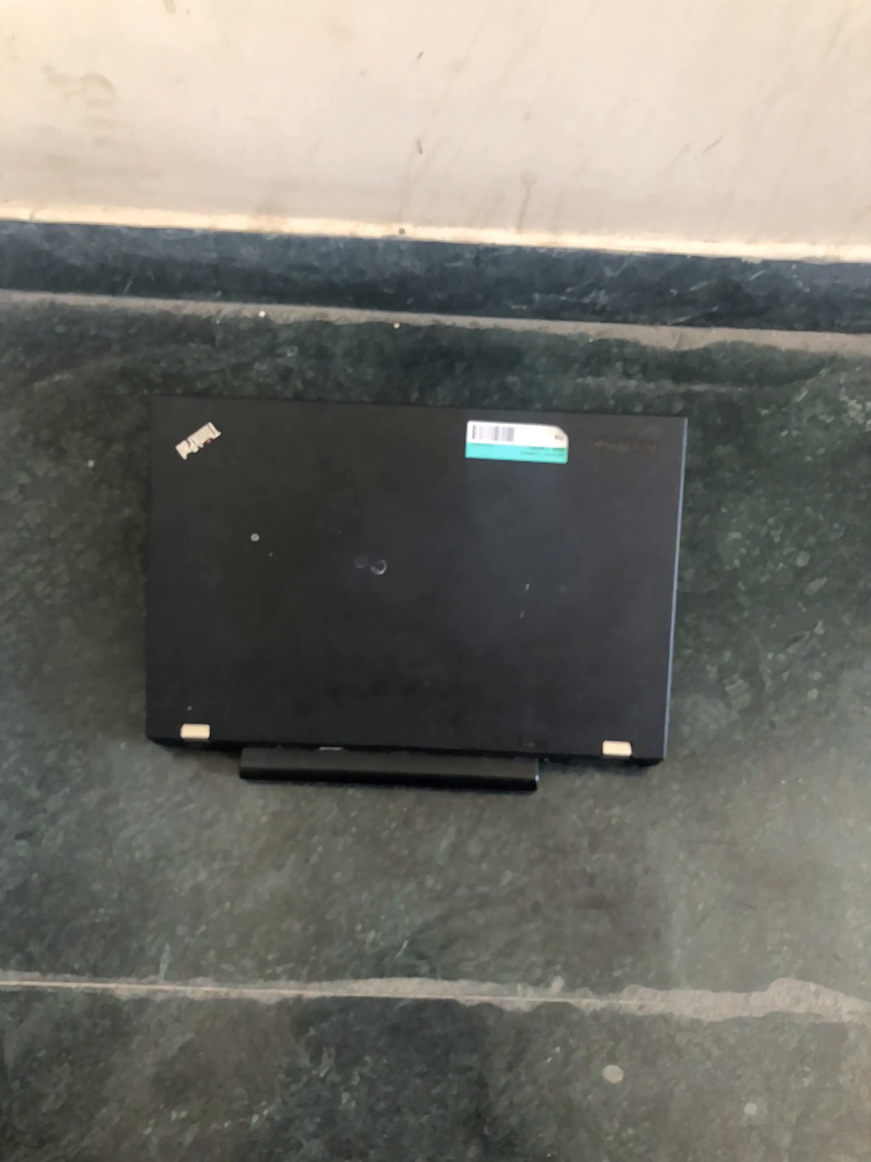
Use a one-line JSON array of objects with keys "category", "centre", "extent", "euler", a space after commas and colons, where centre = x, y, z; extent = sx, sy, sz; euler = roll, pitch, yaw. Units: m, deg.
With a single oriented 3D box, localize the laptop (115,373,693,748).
[{"category": "laptop", "centre": [-0.013, -0.013, 0.669], "extent": [0.349, 0.094, 0.228], "euler": [3, 68, -2]}]
